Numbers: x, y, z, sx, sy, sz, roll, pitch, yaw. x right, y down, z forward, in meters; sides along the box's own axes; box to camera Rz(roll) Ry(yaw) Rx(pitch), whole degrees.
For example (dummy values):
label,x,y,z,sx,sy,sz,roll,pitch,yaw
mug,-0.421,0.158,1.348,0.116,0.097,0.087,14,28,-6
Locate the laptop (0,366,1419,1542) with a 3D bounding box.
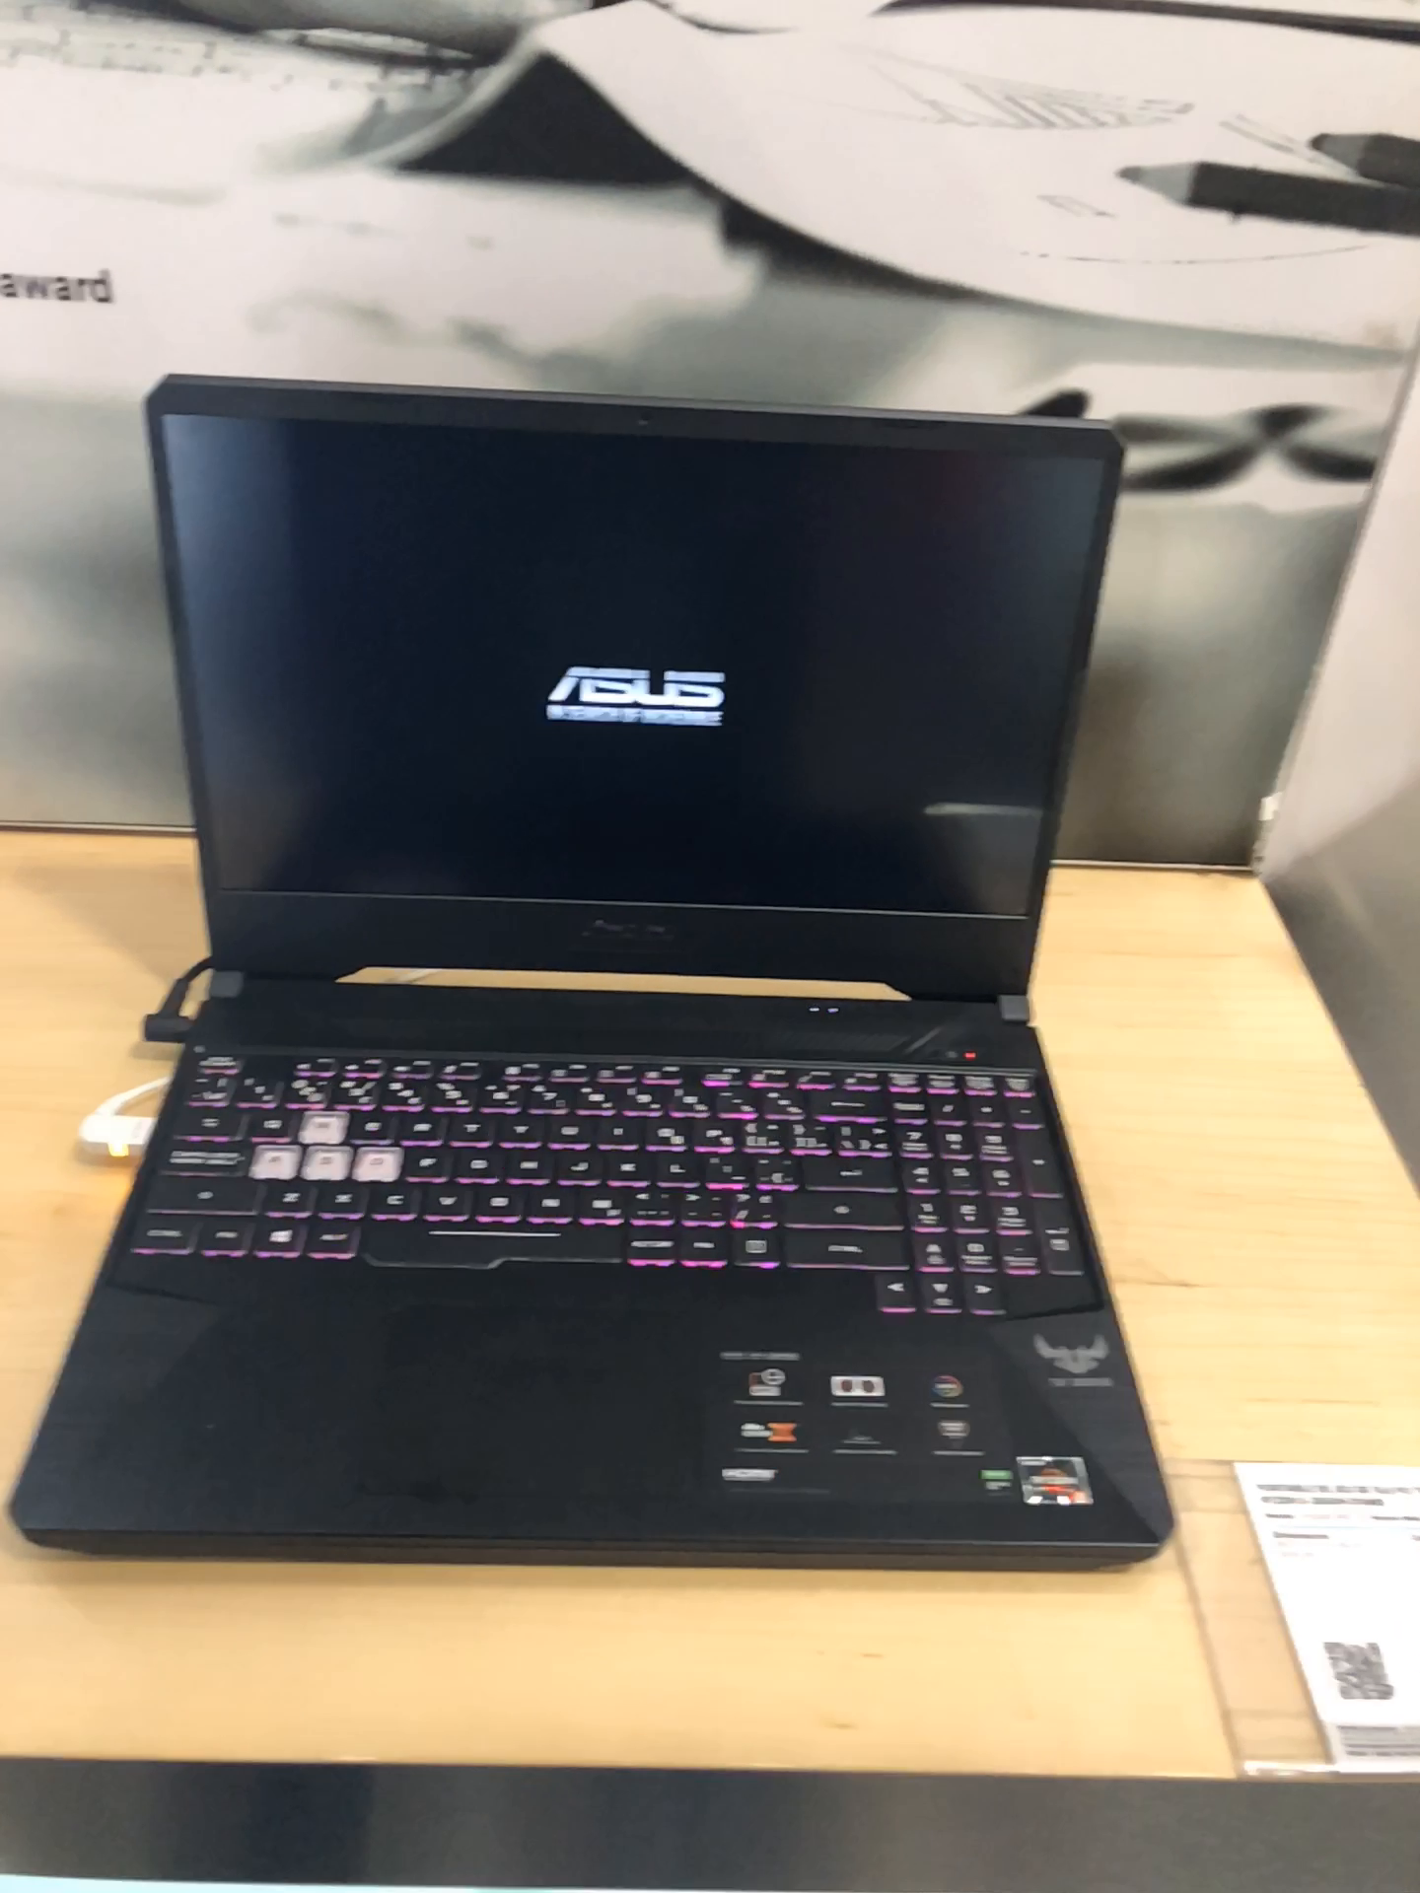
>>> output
label,x,y,z,sx,sy,sz,roll,pitch,yaw
laptop,-0.032,-0.012,0.524,0.358,0.245,0.311,2,37,-3
